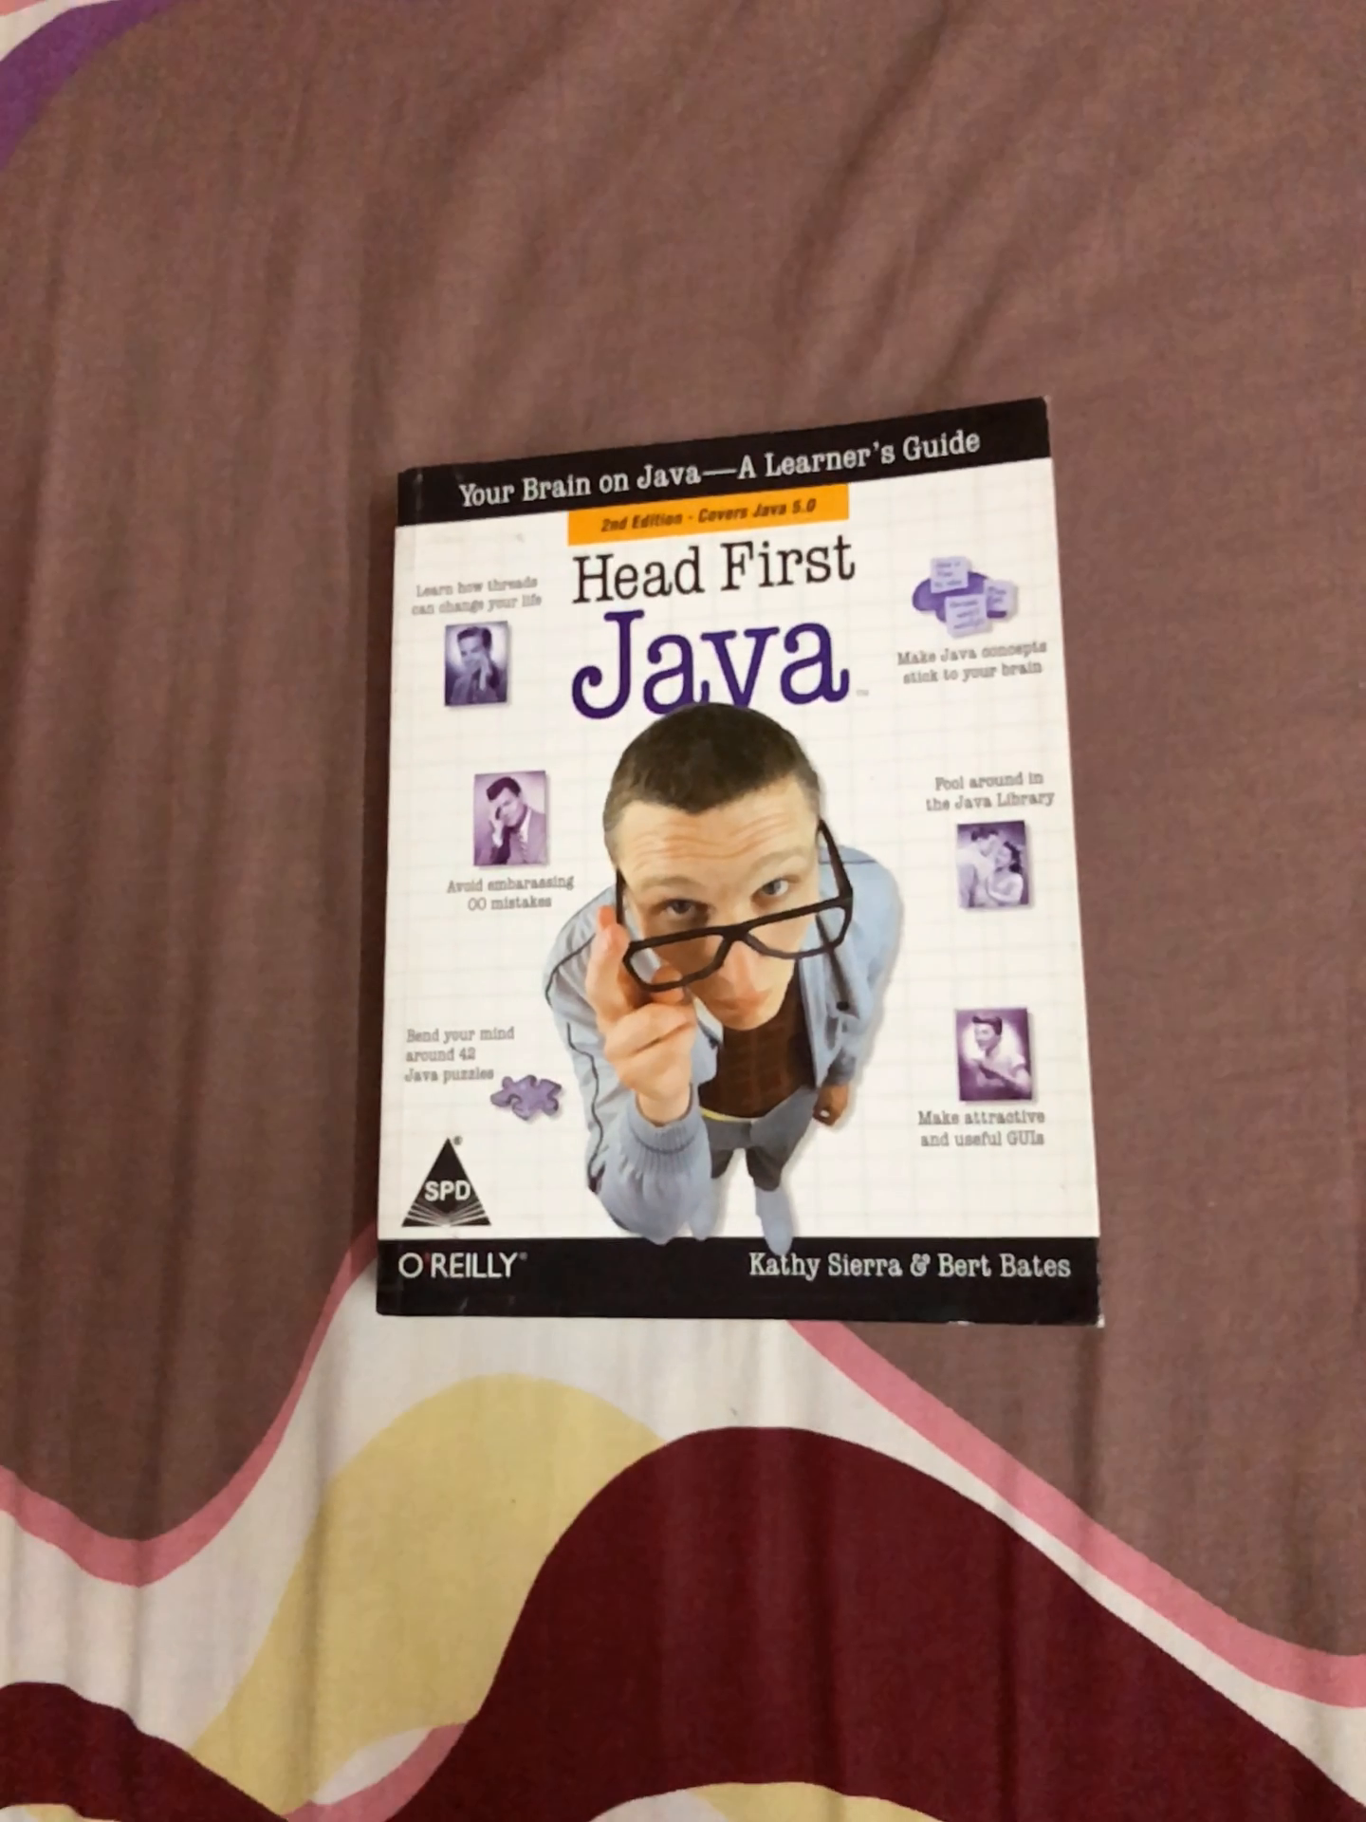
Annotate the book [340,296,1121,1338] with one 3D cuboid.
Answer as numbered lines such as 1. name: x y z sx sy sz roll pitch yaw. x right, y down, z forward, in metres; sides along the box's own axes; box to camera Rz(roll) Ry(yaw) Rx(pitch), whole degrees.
1. book: 0.011 -0.022 0.412 0.190 0.050 0.260 -3 79 13
